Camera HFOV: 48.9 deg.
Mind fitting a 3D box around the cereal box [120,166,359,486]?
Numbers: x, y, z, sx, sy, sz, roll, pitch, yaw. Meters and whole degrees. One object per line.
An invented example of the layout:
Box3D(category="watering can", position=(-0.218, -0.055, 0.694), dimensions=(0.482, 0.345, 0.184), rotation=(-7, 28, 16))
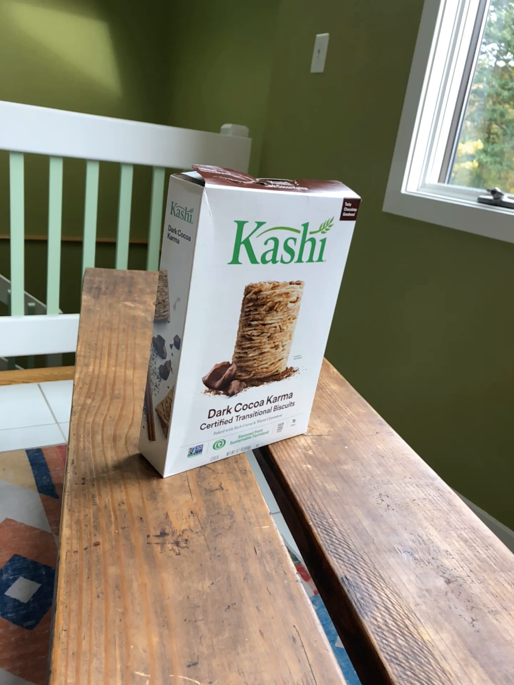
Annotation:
Box3D(category="cereal box", position=(-0.018, -0.019, 0.559), dimensions=(0.201, 0.278, 0.060), rotation=(-9, 29, -41))
